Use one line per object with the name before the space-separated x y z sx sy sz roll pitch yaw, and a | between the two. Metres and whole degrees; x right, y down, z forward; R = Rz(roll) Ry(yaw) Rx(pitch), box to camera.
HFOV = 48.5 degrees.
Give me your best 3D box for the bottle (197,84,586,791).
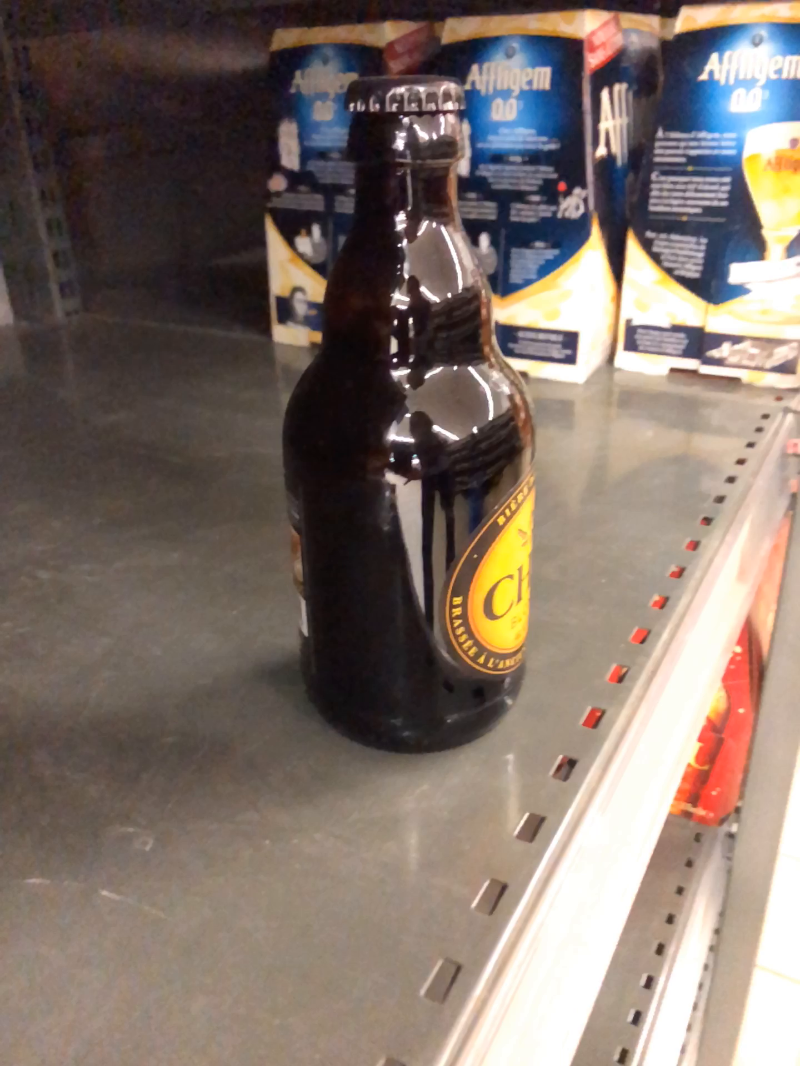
bottle | 0.005 -0.026 0.241 0.070 0.169 0.070 -2 26 1
